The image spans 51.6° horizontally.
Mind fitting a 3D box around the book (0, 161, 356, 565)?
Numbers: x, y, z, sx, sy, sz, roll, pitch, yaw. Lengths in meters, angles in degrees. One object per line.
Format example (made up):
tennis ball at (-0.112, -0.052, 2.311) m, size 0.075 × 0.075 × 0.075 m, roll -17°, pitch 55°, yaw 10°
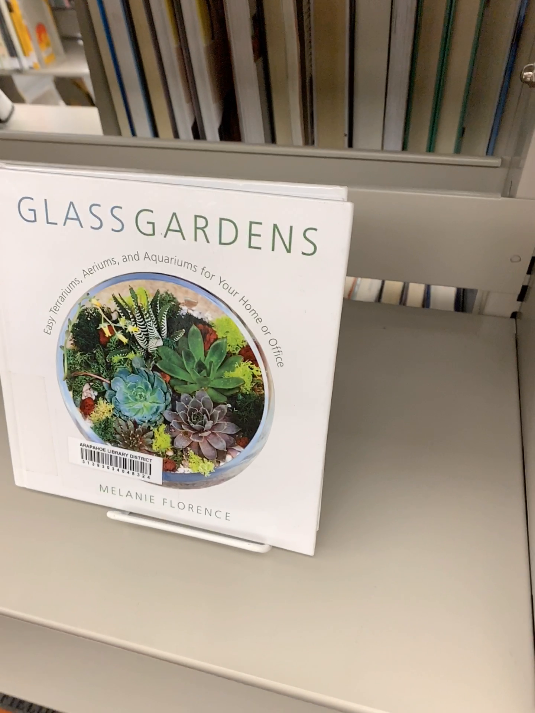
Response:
book at (-0.058, 0.003, 0.270) m, size 0.180 × 0.174 × 0.030 m, roll 8°, pitch 24°, yaw 13°
